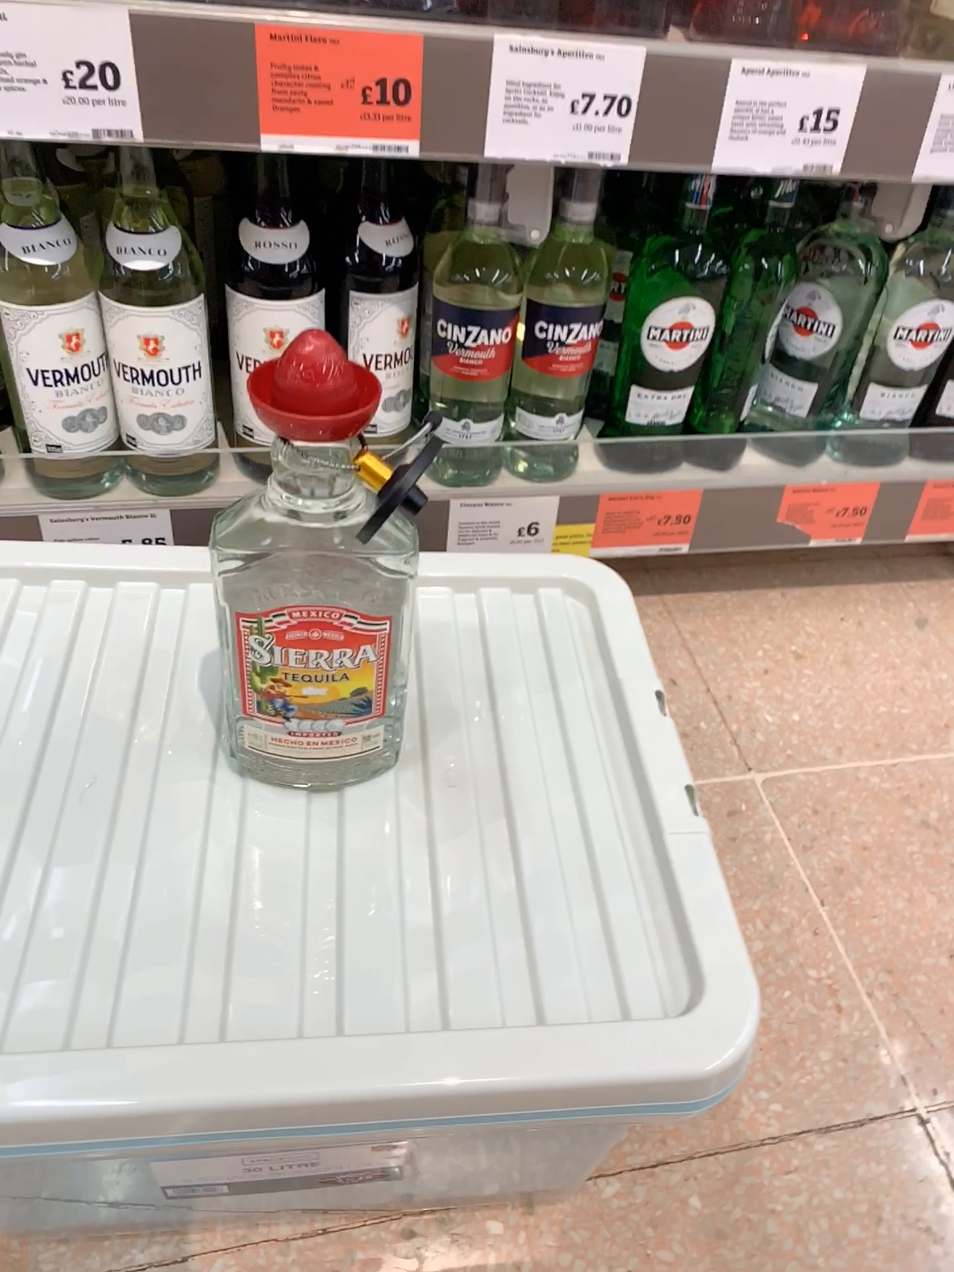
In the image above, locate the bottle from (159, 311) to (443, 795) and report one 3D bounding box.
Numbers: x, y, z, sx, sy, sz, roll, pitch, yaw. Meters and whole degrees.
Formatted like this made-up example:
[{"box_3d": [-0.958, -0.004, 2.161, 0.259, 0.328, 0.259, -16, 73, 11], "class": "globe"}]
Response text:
[{"box_3d": [-0.079, -0.023, 0.462, 0.103, 0.240, 0.058, 2, 43, -7], "class": "bottle"}]
